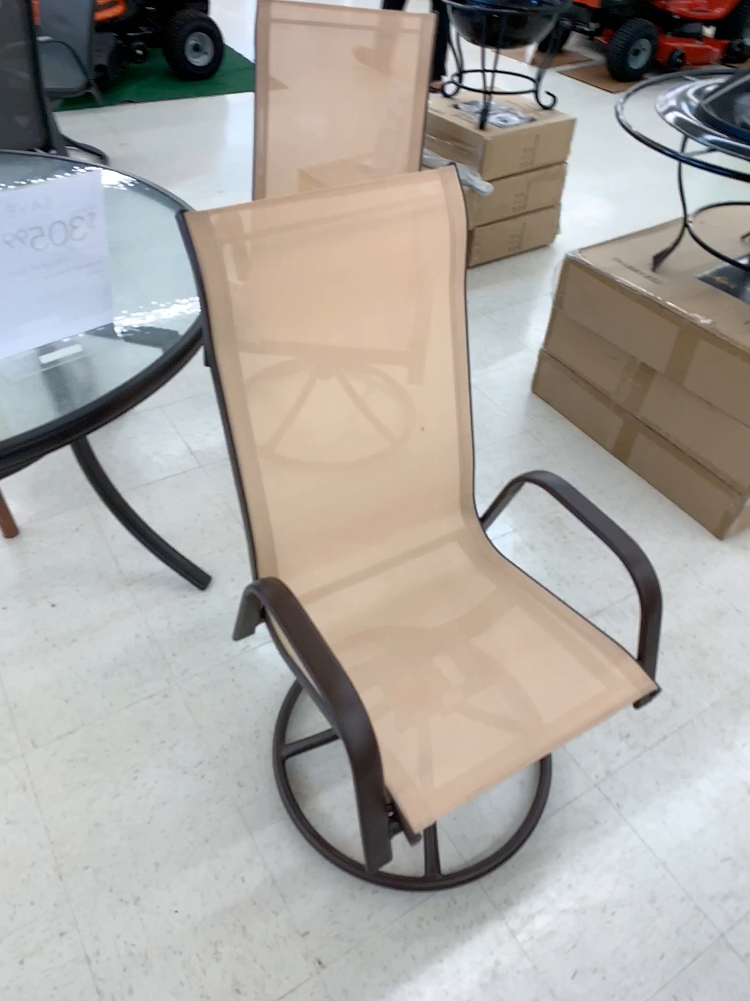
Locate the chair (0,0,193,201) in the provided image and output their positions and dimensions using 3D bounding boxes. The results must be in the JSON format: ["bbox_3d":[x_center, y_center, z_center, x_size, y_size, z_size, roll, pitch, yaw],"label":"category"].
[{"bbox_3d":[-1.169,-1.729,2.790,0.709,0.916,0.570,-24,50,-27],"label":"chair"}]

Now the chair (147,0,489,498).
[{"bbox_3d":[-0.099,-0.641,1.930,0.568,0.956,0.711,10,44,5],"label":"chair"}]

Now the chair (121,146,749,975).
[{"bbox_3d":[0.075,0.094,1.197,0.569,0.956,0.709,-21,49,-25],"label":"chair"}]

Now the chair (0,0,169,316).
[{"bbox_3d":[-1.149,-1.208,2.321,0.708,0.916,0.570,29,49,23],"label":"chair"}]
